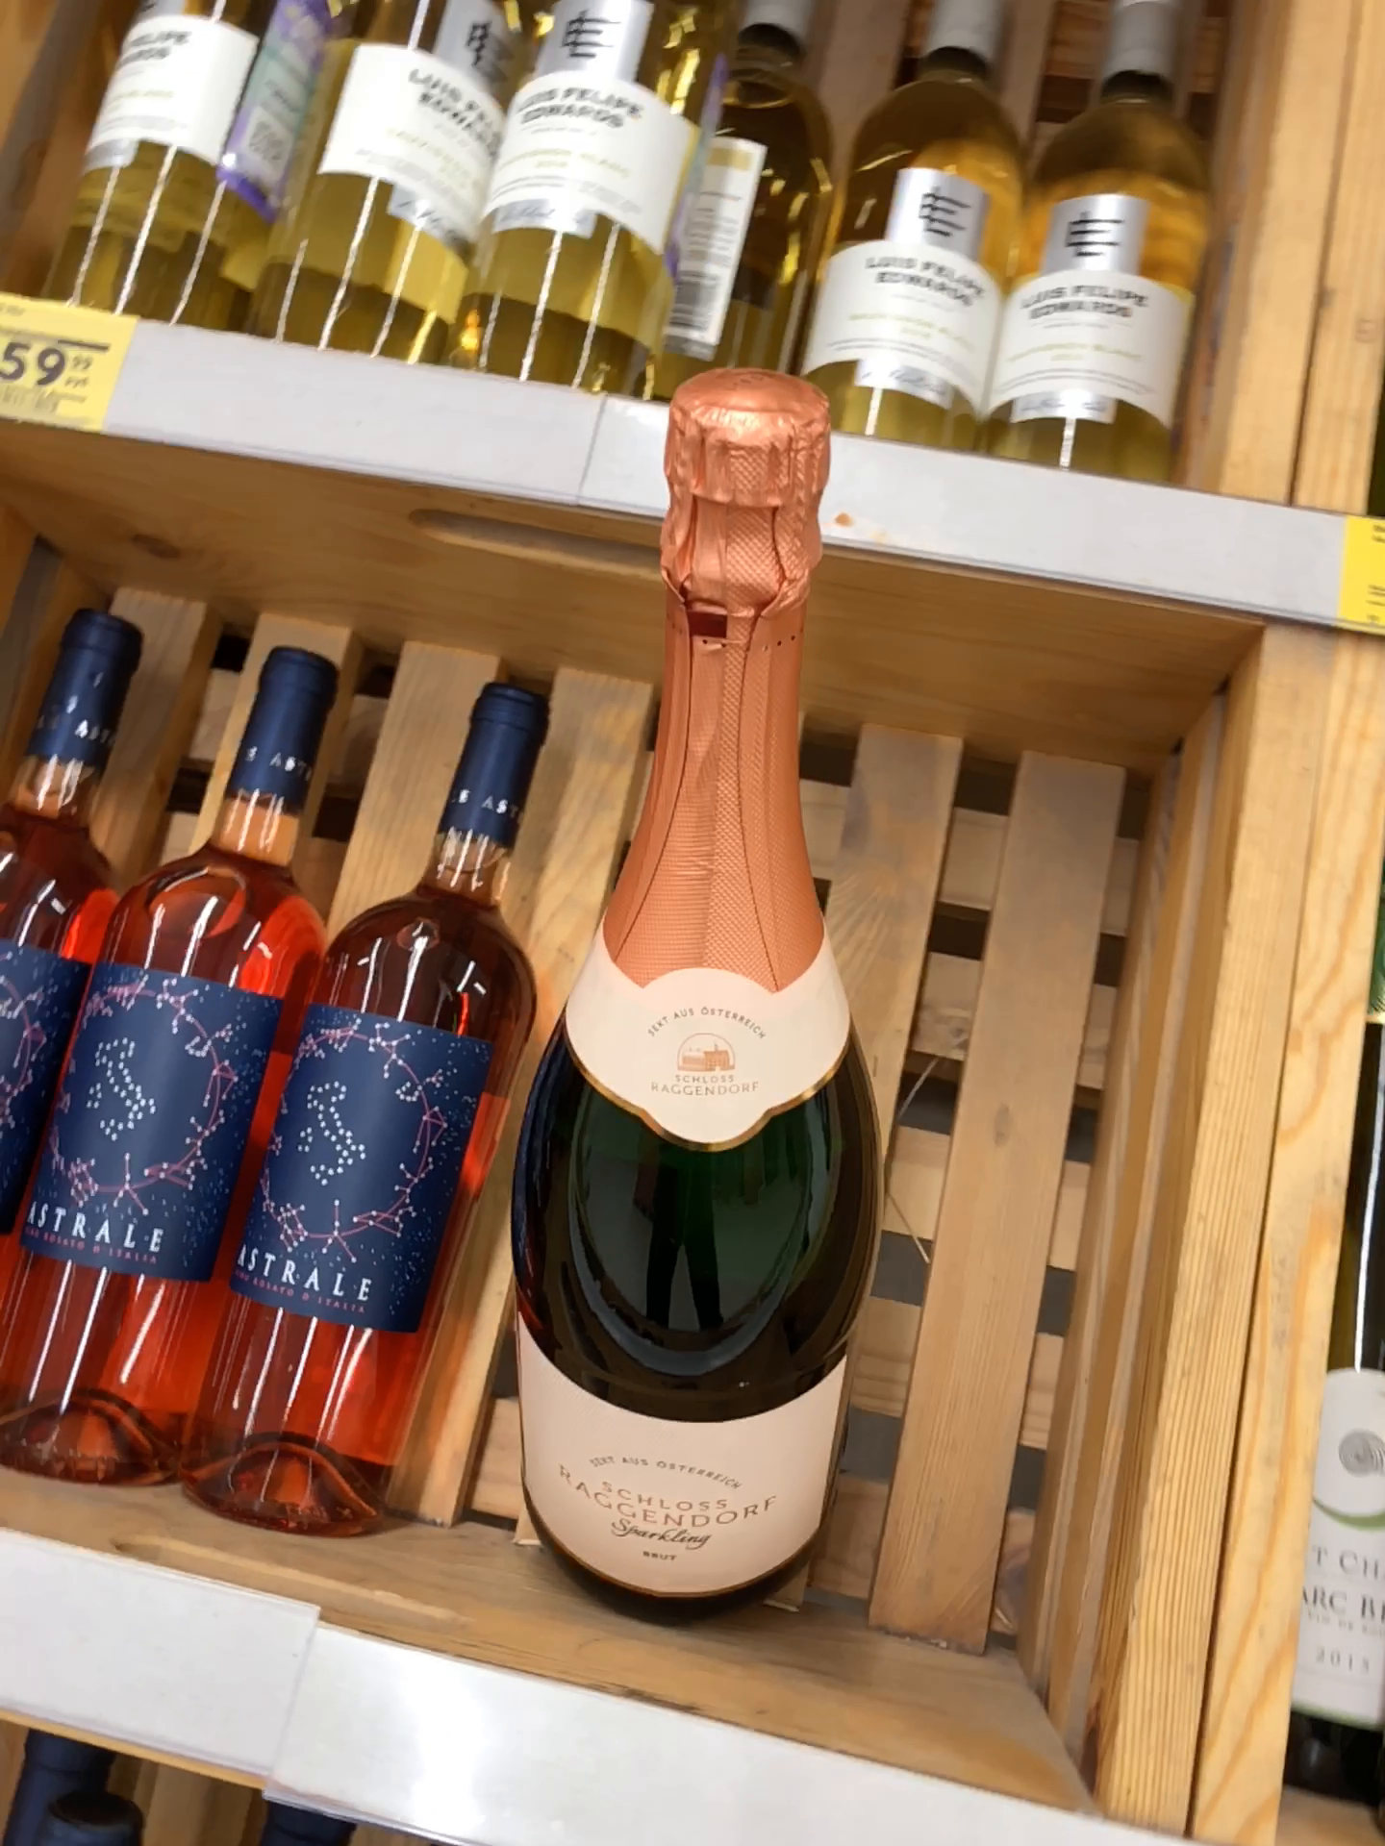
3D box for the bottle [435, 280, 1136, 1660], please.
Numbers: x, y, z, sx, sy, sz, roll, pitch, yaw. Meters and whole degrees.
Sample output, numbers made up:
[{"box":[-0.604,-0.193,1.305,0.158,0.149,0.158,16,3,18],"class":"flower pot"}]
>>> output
[{"box":[0.006,0.036,0.411,0.120,0.358,0.110,5,35,-3],"class":"bottle"}]
